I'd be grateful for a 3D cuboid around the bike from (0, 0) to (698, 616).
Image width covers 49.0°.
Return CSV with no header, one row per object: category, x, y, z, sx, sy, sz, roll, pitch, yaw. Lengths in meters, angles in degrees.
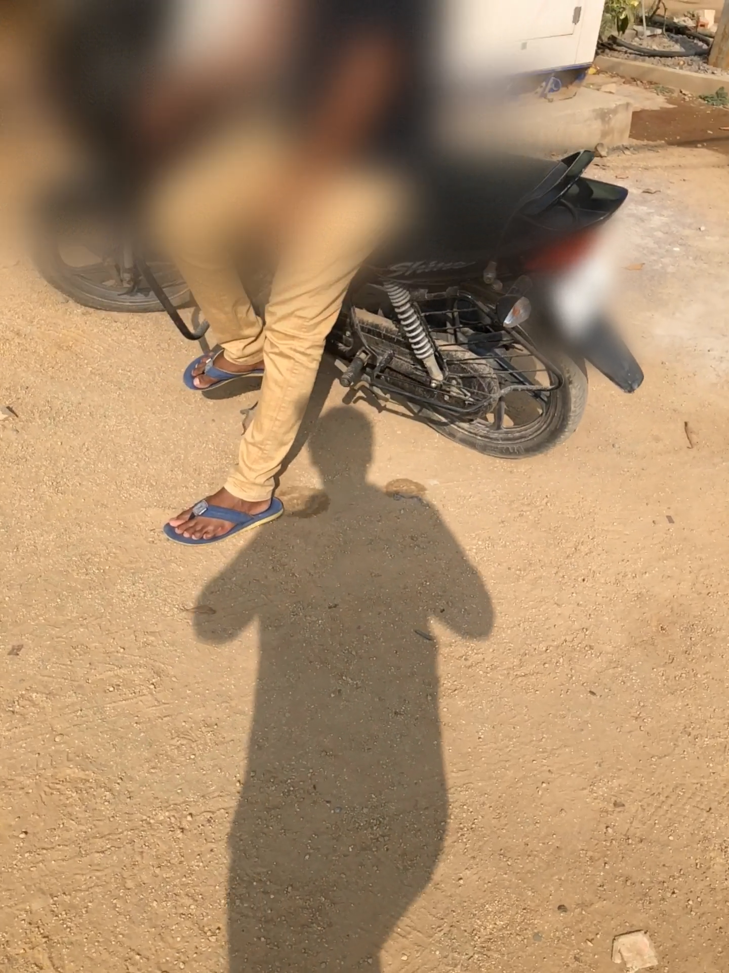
bike,-0.278,-0.677,2.002,1.690,1.214,0.885,18,39,18
